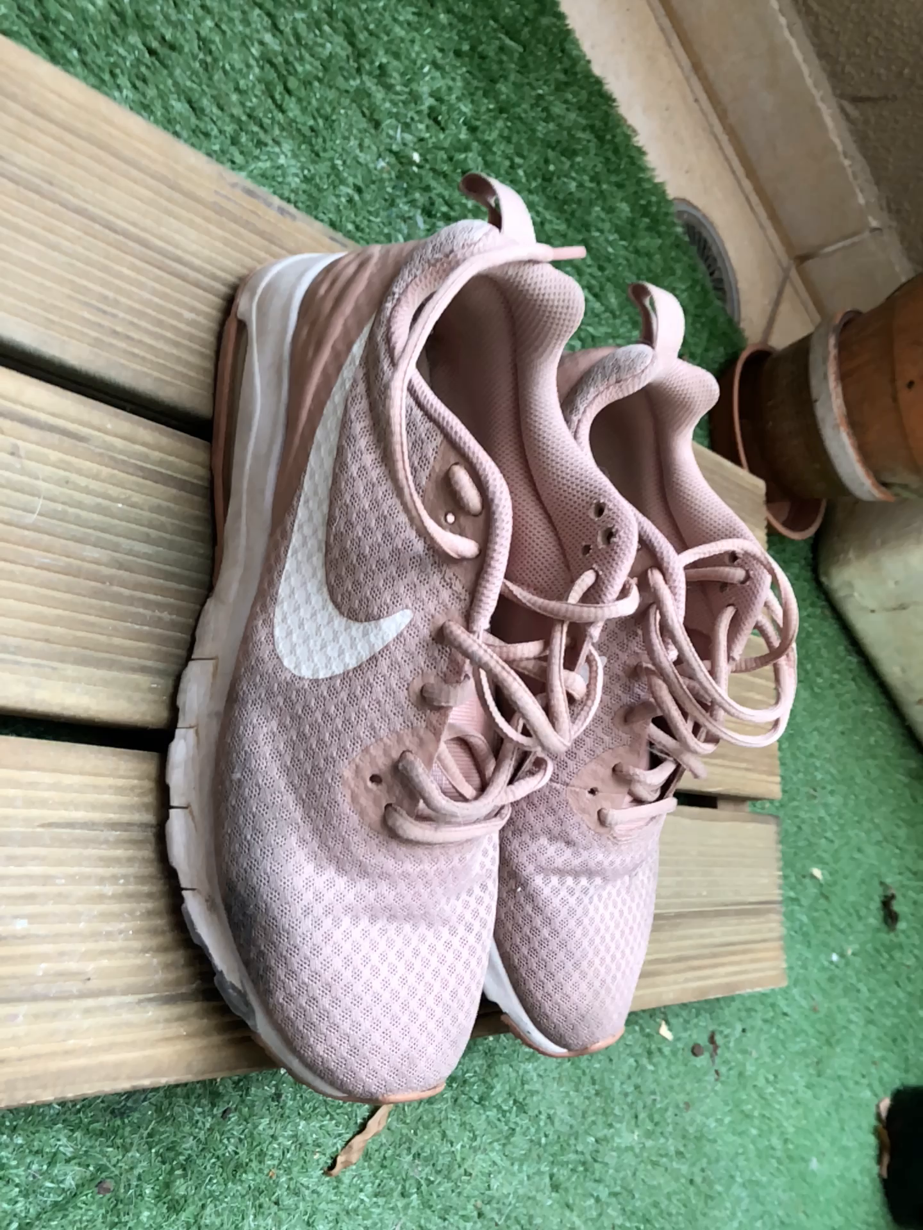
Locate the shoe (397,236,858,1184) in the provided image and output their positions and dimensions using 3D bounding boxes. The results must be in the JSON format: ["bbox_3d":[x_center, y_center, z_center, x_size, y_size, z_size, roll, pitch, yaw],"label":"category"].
[{"bbox_3d":[0.056,0.027,0.351,0.111,0.089,0.260,3,81,-46],"label":"shoe"}]

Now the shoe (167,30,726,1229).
[{"bbox_3d":[-0.006,0.010,0.276,0.111,0.089,0.260,6,79,-46],"label":"shoe"}]
